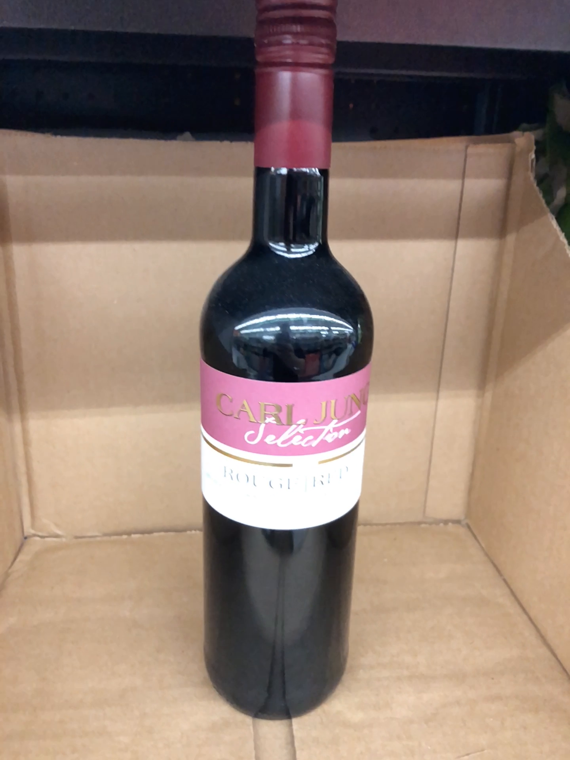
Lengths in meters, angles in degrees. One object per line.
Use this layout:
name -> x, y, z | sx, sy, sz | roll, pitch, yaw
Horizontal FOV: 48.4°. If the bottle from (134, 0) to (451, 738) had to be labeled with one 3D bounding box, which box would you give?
bottle -> -0.002, 0.005, 0.273 | 0.090, 0.308, 0.081 | 1, 21, -2
